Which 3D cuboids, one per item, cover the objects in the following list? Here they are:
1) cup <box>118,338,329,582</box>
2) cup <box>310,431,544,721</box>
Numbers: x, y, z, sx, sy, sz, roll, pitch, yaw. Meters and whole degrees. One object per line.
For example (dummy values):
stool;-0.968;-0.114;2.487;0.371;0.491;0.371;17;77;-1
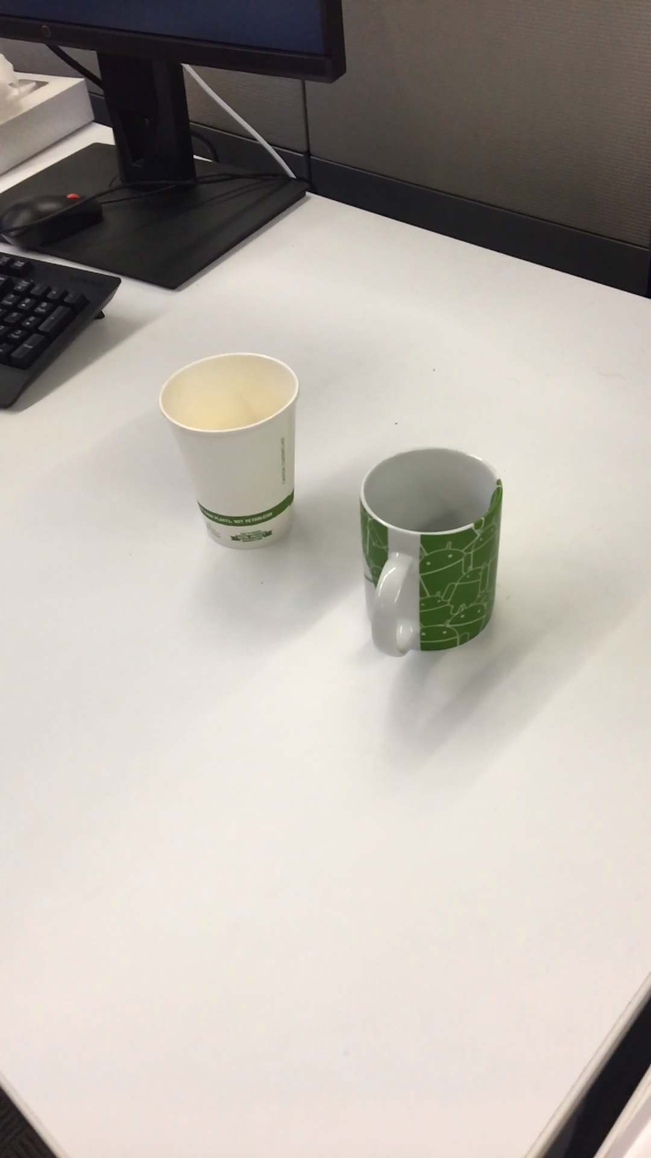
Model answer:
cup;-0.060;-0.078;0.623;0.090;0.110;0.090;-3;44;3
cup;0.060;-0.005;0.546;0.090;0.090;0.120;14;47;19
